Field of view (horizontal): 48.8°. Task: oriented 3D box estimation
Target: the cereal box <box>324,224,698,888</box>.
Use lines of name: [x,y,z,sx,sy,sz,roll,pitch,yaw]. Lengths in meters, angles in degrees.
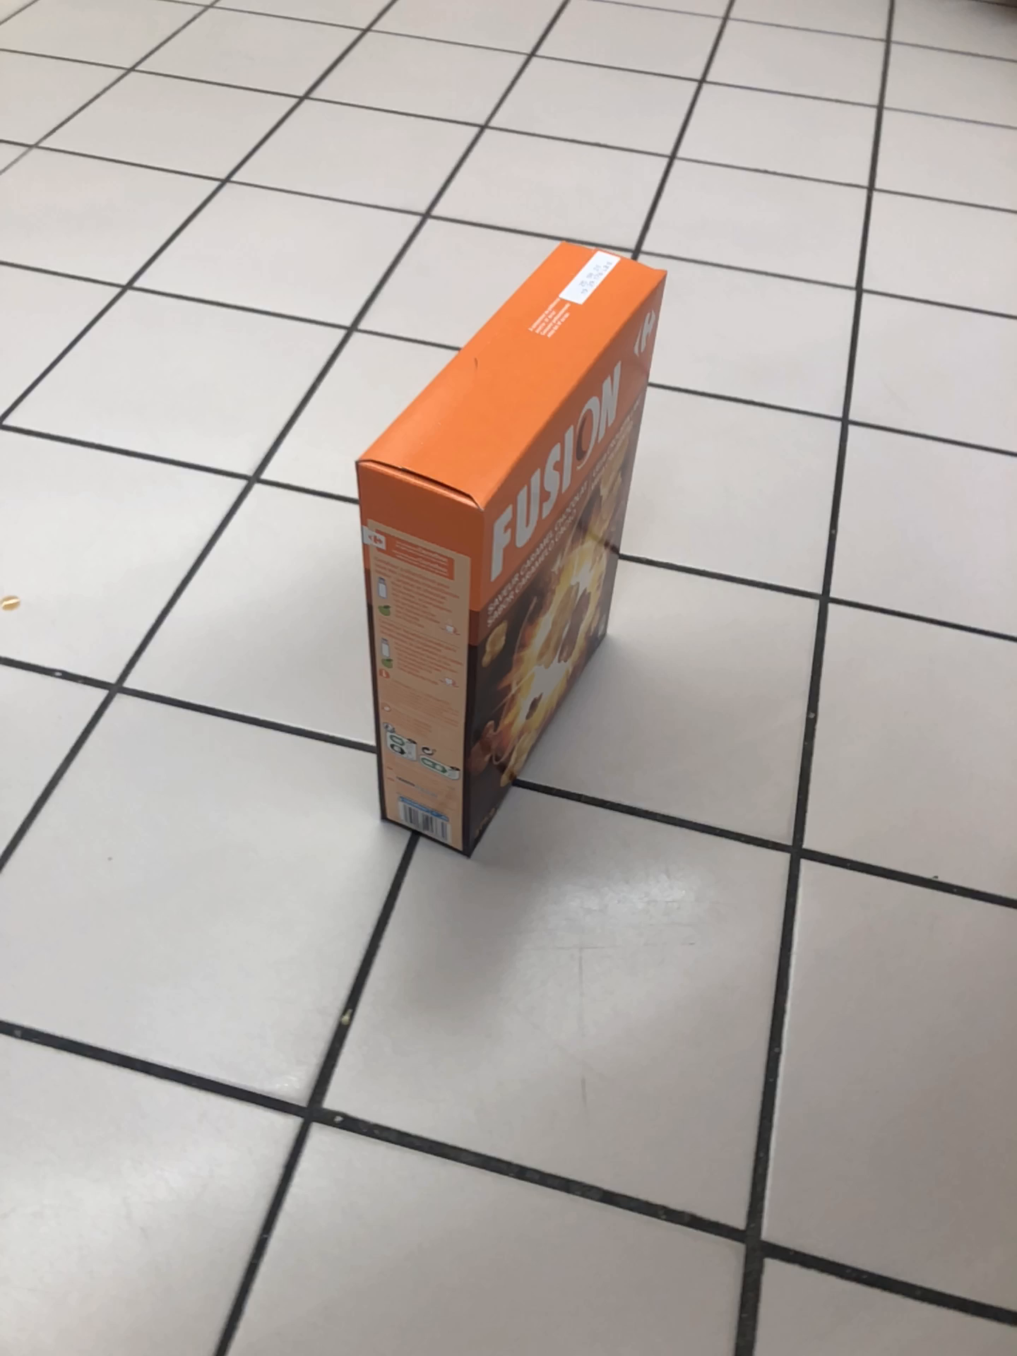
cereal box: [0.002,-0.052,0.550,0.070,0.249,0.201,23,52,14]
